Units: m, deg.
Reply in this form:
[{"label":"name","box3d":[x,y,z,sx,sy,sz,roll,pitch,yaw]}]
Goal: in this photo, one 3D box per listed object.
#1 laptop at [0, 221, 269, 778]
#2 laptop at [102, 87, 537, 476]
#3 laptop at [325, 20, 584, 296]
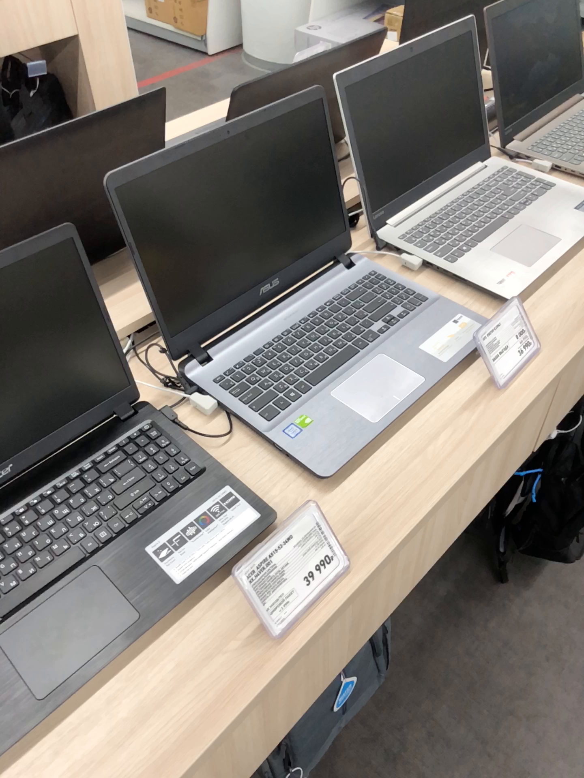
[{"label":"laptop","box3d":[-0.239,0.068,0.565,0.292,0.222,0.333,35,54,30]},{"label":"laptop","box3d":[0.035,-0.157,0.780,0.329,0.226,0.346,34,54,28]},{"label":"laptop","box3d":[0.314,-0.382,1.008,0.333,0.220,0.371,33,53,27]}]
